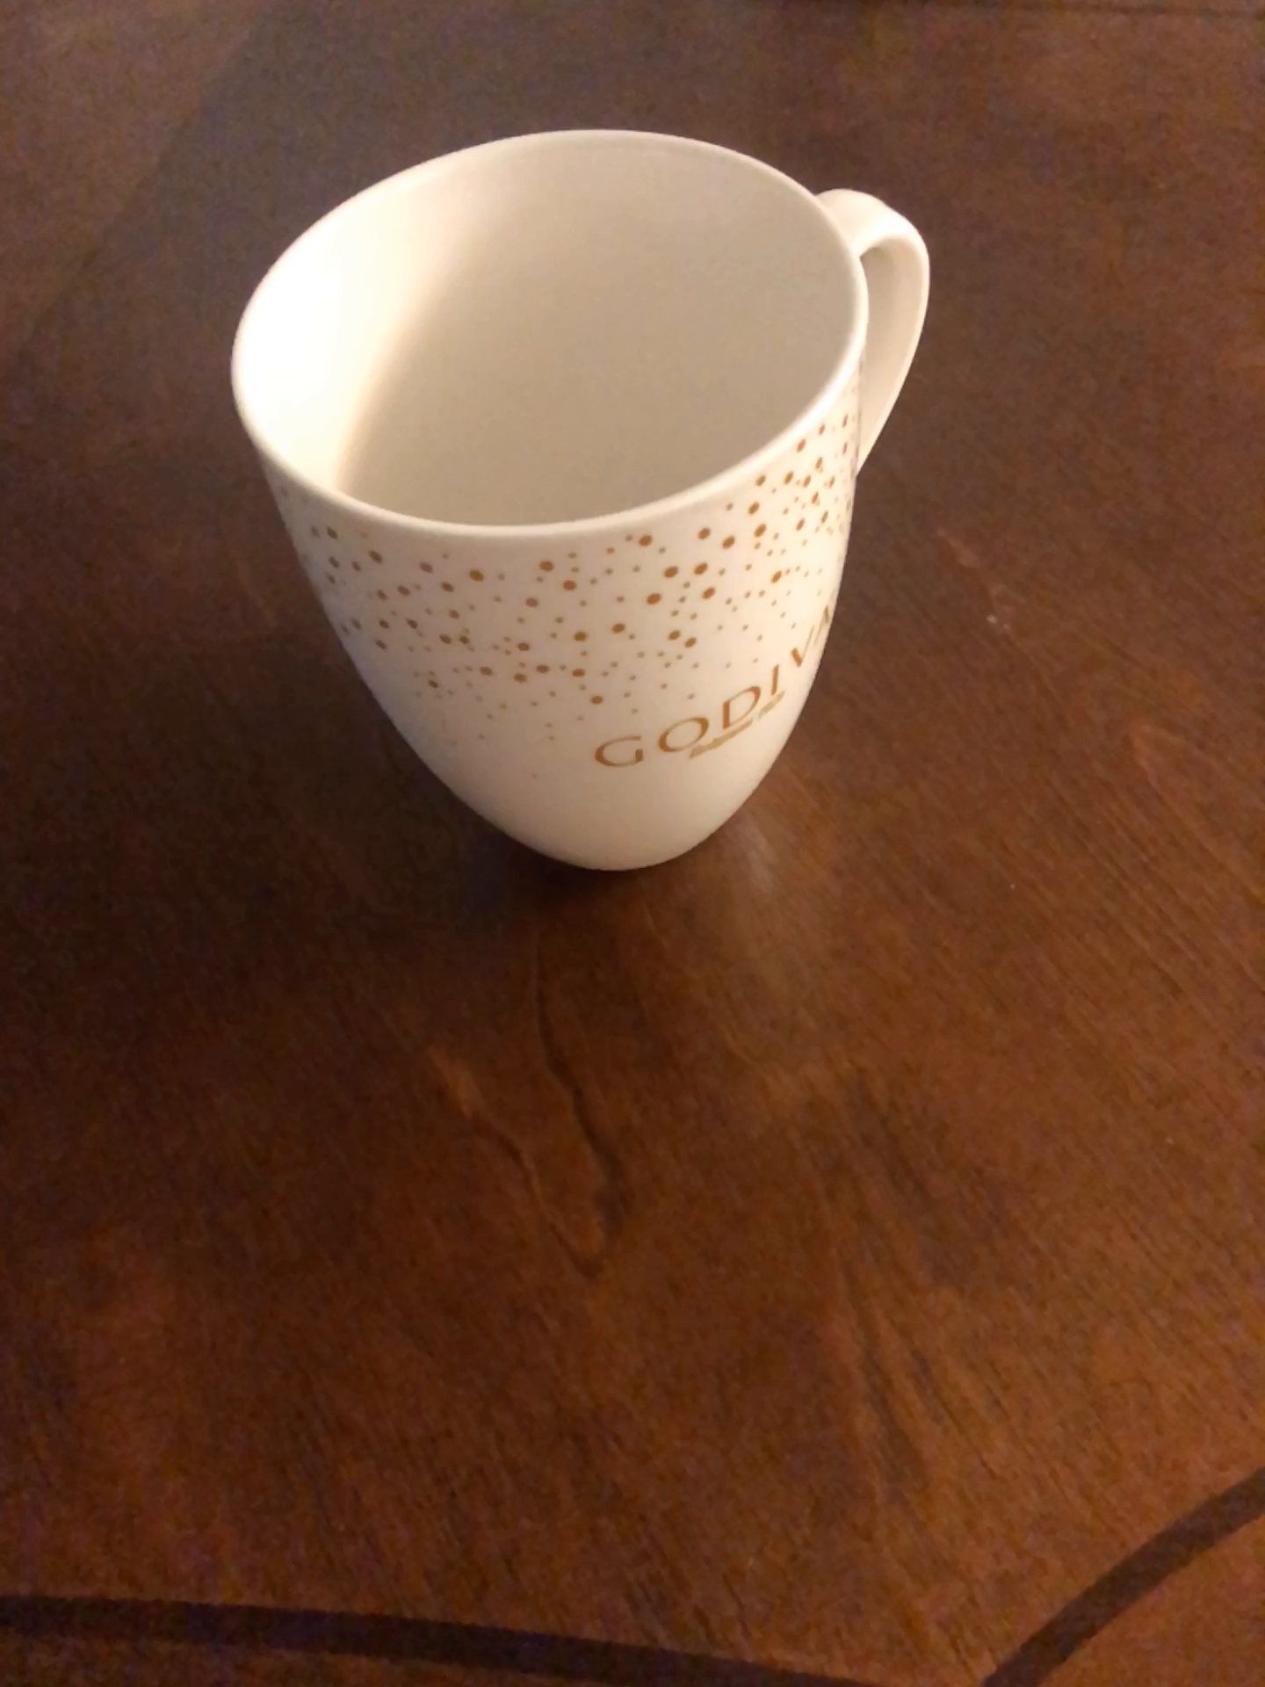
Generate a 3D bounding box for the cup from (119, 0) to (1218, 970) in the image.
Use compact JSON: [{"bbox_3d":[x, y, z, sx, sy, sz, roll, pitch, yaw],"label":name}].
[{"bbox_3d":[0.009,-0.075,0.259,0.140,0.099,0.100,-37,61,-18],"label":"cup"}]
